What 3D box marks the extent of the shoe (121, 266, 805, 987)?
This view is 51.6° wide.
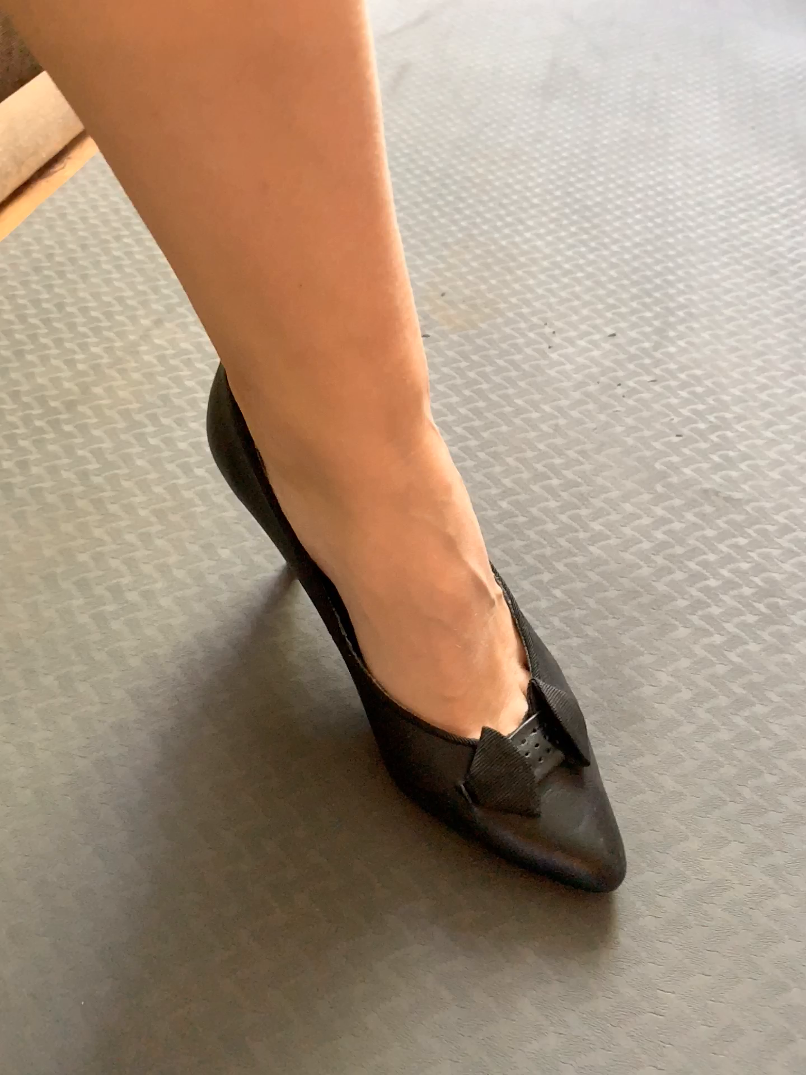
[{"bbox_3d":[0.010,0.015,0.292,0.090,0.100,0.231,-32,58,-27],"label":"shoe"}]
